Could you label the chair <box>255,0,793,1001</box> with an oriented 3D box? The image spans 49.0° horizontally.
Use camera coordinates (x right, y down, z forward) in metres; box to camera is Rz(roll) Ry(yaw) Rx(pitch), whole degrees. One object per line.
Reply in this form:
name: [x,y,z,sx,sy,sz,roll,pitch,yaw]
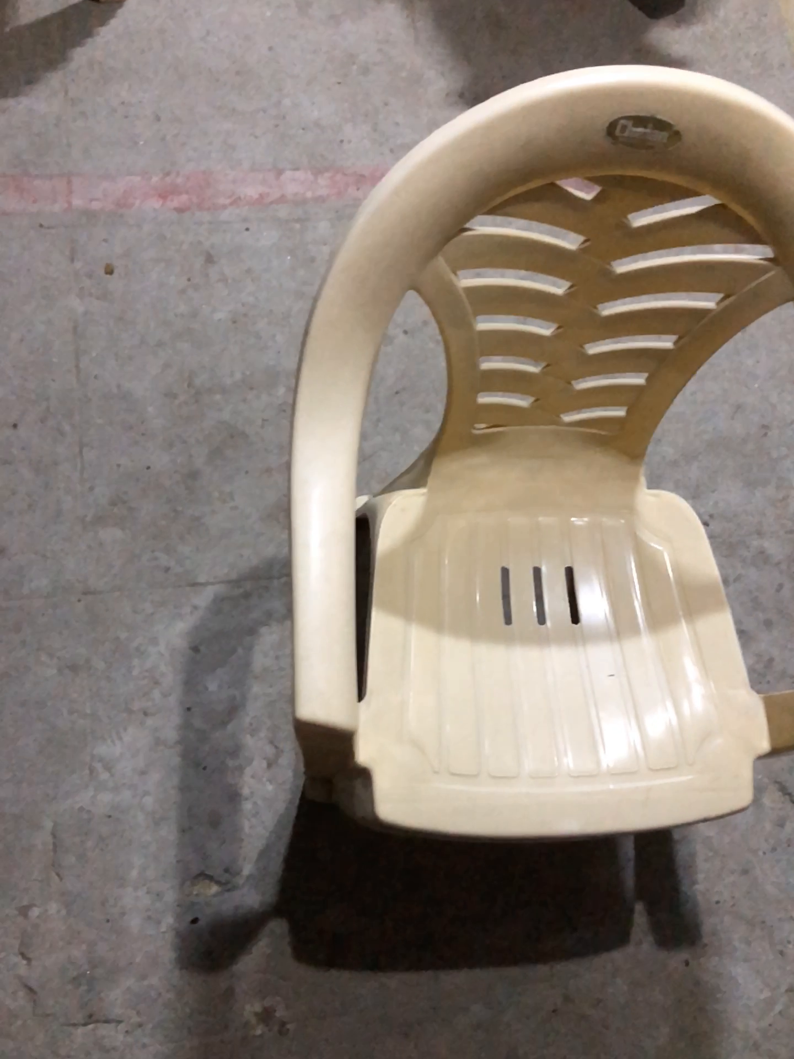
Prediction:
chair: [0.172,0.048,0.892,0.560,0.868,0.561,3,76,-6]
